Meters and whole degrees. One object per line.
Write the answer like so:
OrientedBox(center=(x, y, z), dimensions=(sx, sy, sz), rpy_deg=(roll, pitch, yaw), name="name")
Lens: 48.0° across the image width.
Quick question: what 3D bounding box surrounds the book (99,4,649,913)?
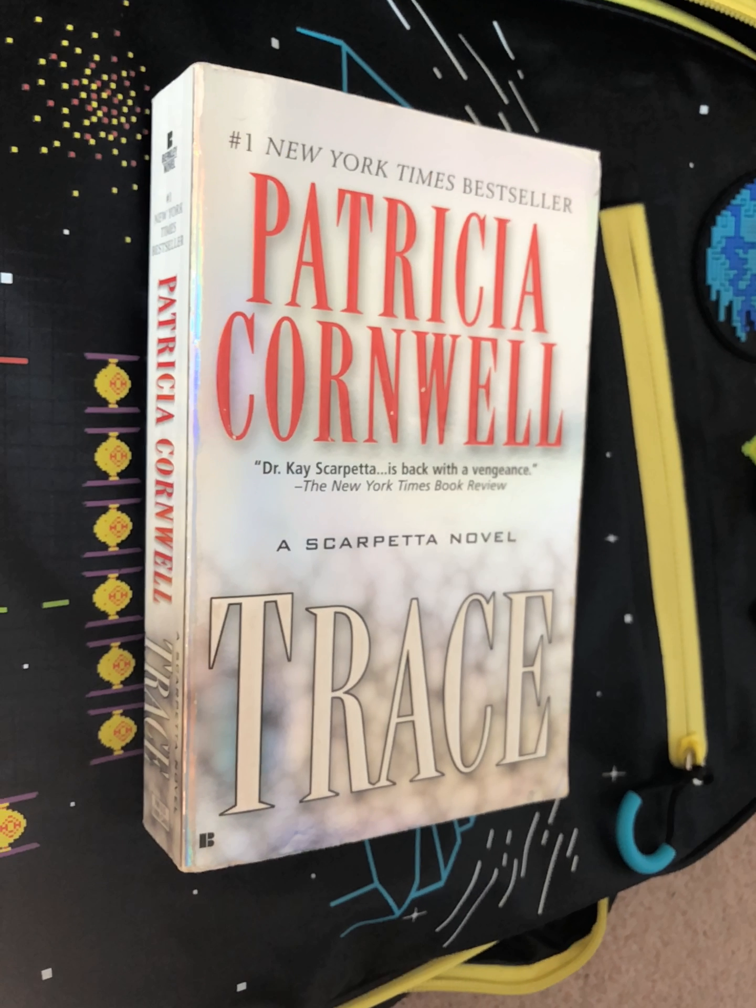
OrientedBox(center=(-0.001, -0.007, 0.202), dimensions=(0.120, 0.040, 0.170), rpy_deg=(-1, 96, -25), name="book")
